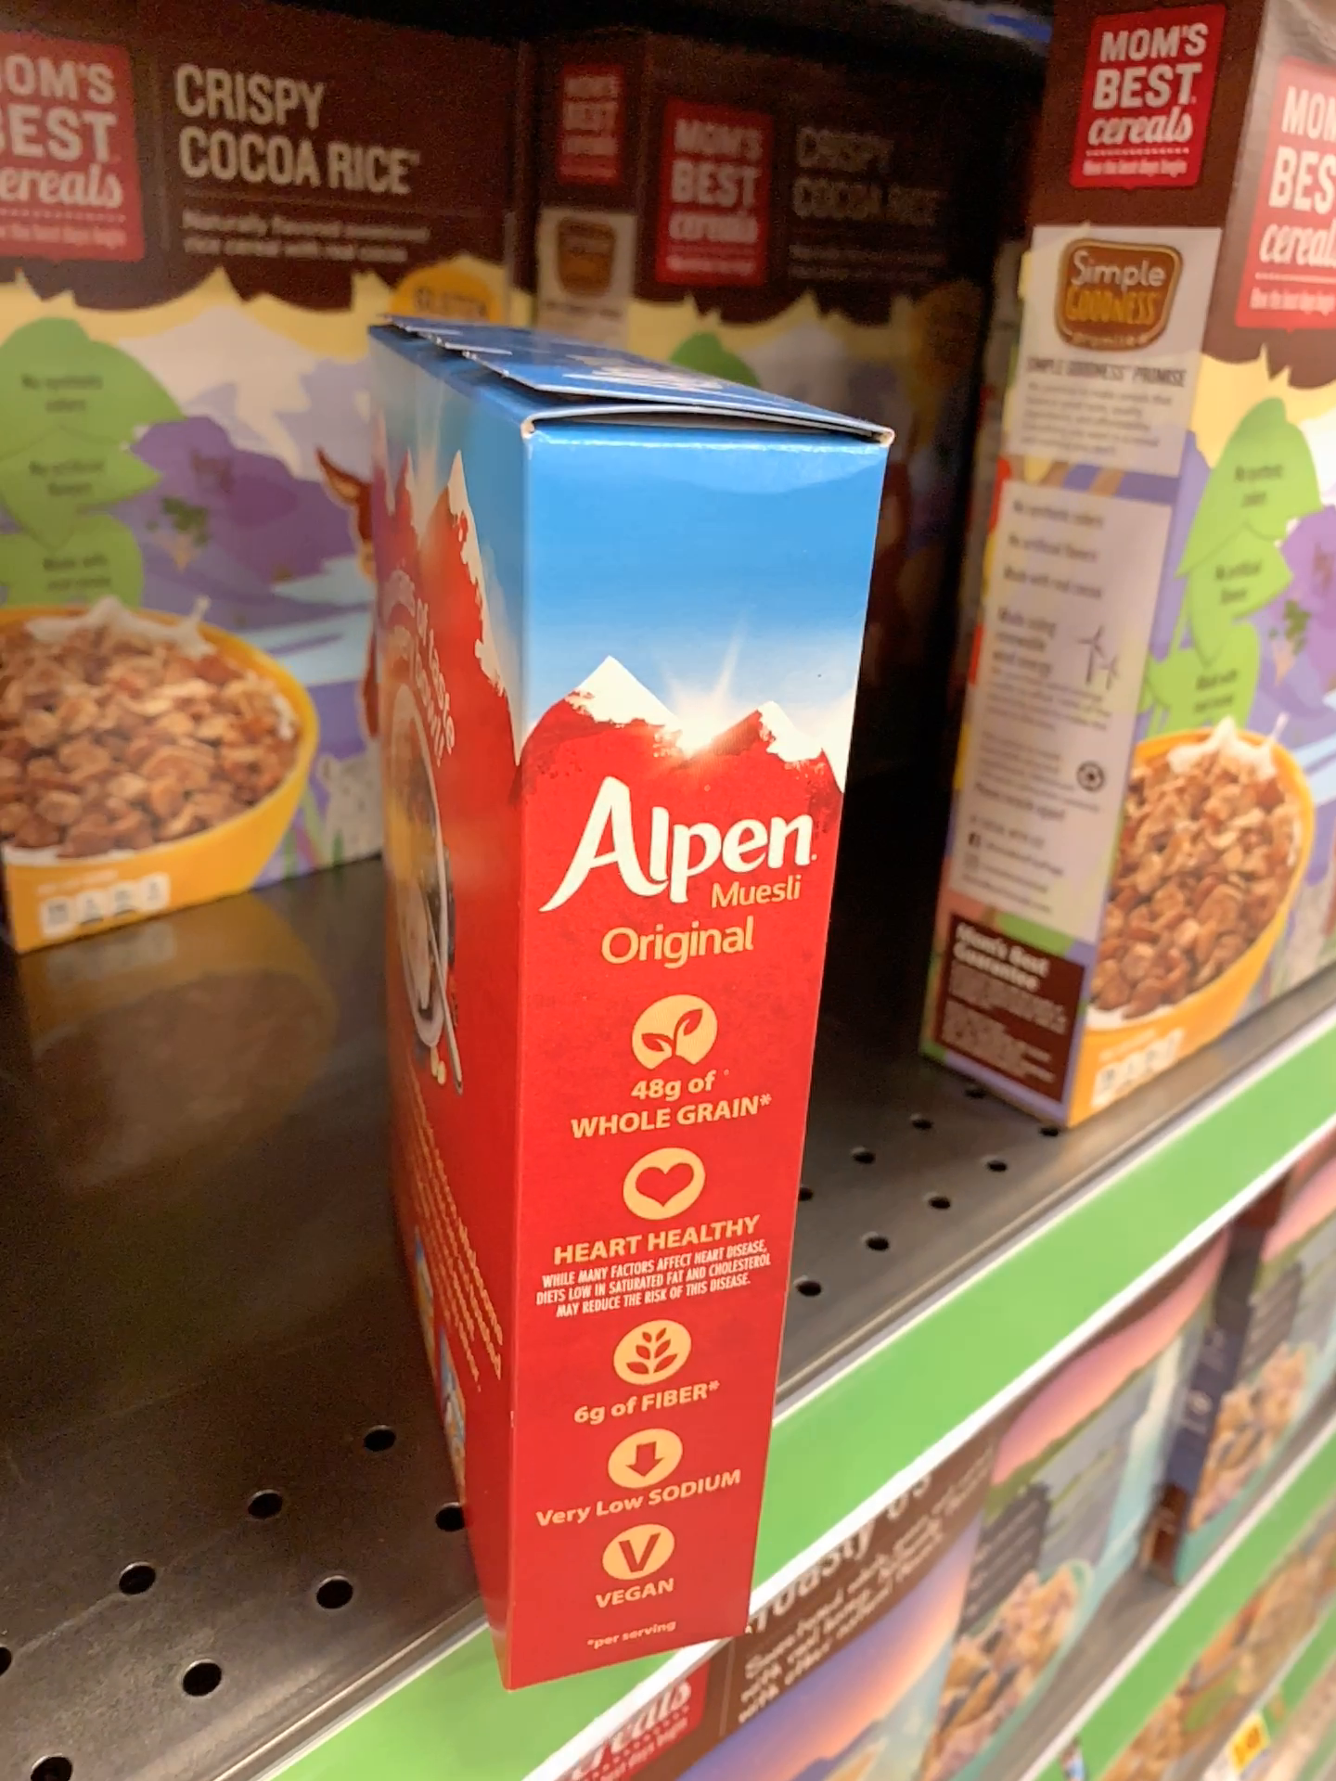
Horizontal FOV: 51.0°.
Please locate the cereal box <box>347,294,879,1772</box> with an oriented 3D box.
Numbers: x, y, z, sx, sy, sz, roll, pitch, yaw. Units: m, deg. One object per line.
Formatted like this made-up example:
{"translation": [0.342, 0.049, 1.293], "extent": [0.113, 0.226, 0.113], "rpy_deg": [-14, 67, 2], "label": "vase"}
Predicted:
{"translation": [-0.026, 0.010, 0.254], "extent": [0.040, 0.209, 0.161], "rpy_deg": [-5, 26, -17], "label": "cereal box"}
